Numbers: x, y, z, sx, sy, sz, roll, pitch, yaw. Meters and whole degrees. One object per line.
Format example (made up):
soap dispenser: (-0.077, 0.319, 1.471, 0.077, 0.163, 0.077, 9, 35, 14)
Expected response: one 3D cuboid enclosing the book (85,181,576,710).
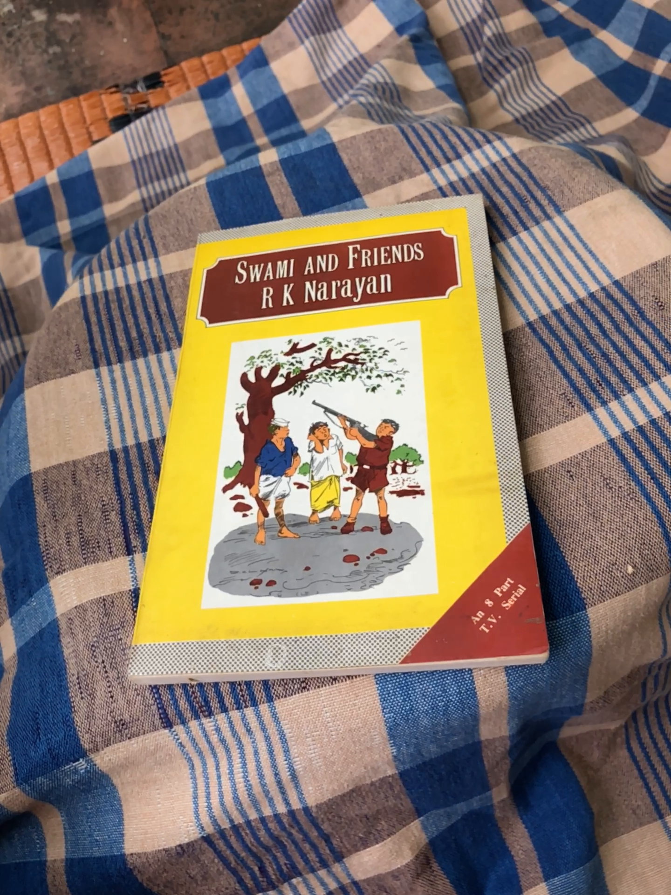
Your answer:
book: (-0.001, -0.013, 0.257, 0.130, 0.020, 0.190, -5, 56, 10)
